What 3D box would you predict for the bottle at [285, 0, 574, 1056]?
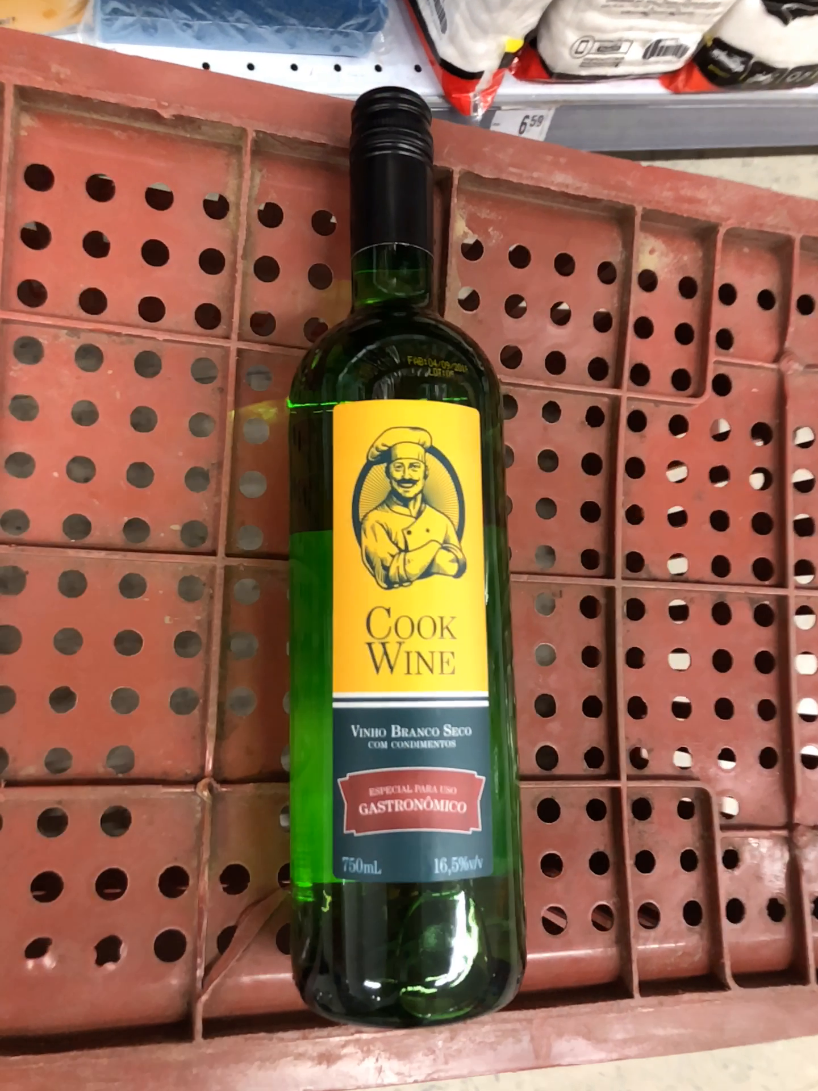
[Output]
[{"bbox_3d":[0.002,-0.018,0.297,0.080,0.060,0.320,0,83,-6],"label":"bottle"}]
